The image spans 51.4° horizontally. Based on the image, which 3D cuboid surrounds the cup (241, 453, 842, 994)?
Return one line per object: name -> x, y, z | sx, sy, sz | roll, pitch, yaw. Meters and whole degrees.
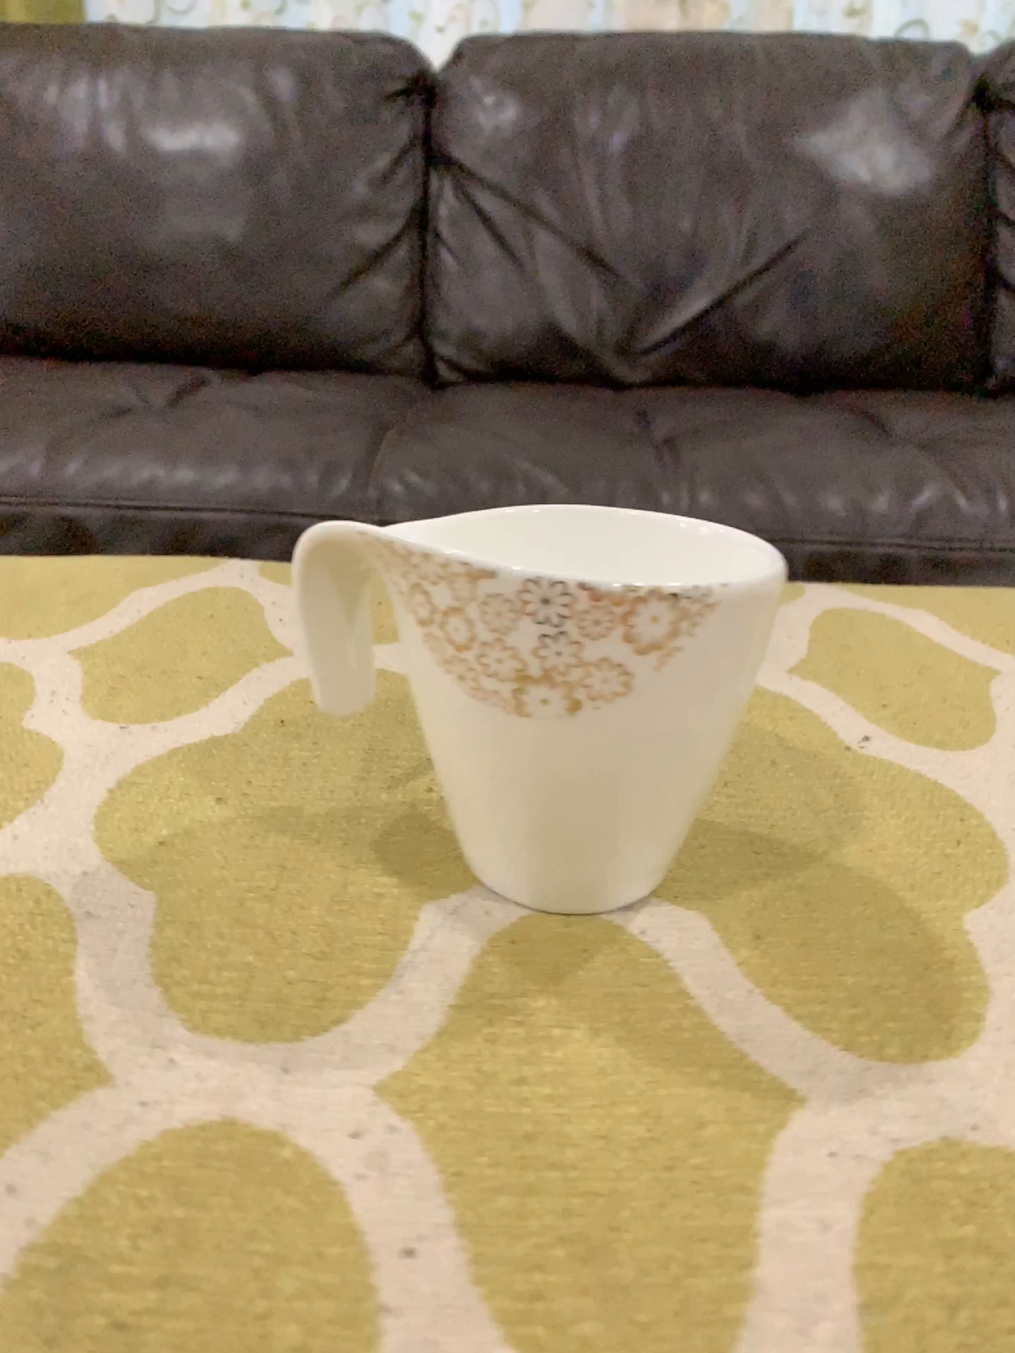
cup -> 0.011, 0.000, 0.251 | 0.109, 0.079, 0.089 | 12, 25, 22
